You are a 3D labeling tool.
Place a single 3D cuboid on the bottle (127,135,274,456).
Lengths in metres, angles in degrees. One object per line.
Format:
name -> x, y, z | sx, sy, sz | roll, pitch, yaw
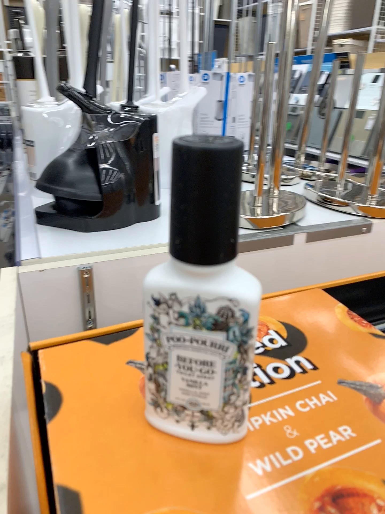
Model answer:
bottle -> 0.003, 0.023, 0.191 | 0.055, 0.151, 0.033 | 6, 24, 10
